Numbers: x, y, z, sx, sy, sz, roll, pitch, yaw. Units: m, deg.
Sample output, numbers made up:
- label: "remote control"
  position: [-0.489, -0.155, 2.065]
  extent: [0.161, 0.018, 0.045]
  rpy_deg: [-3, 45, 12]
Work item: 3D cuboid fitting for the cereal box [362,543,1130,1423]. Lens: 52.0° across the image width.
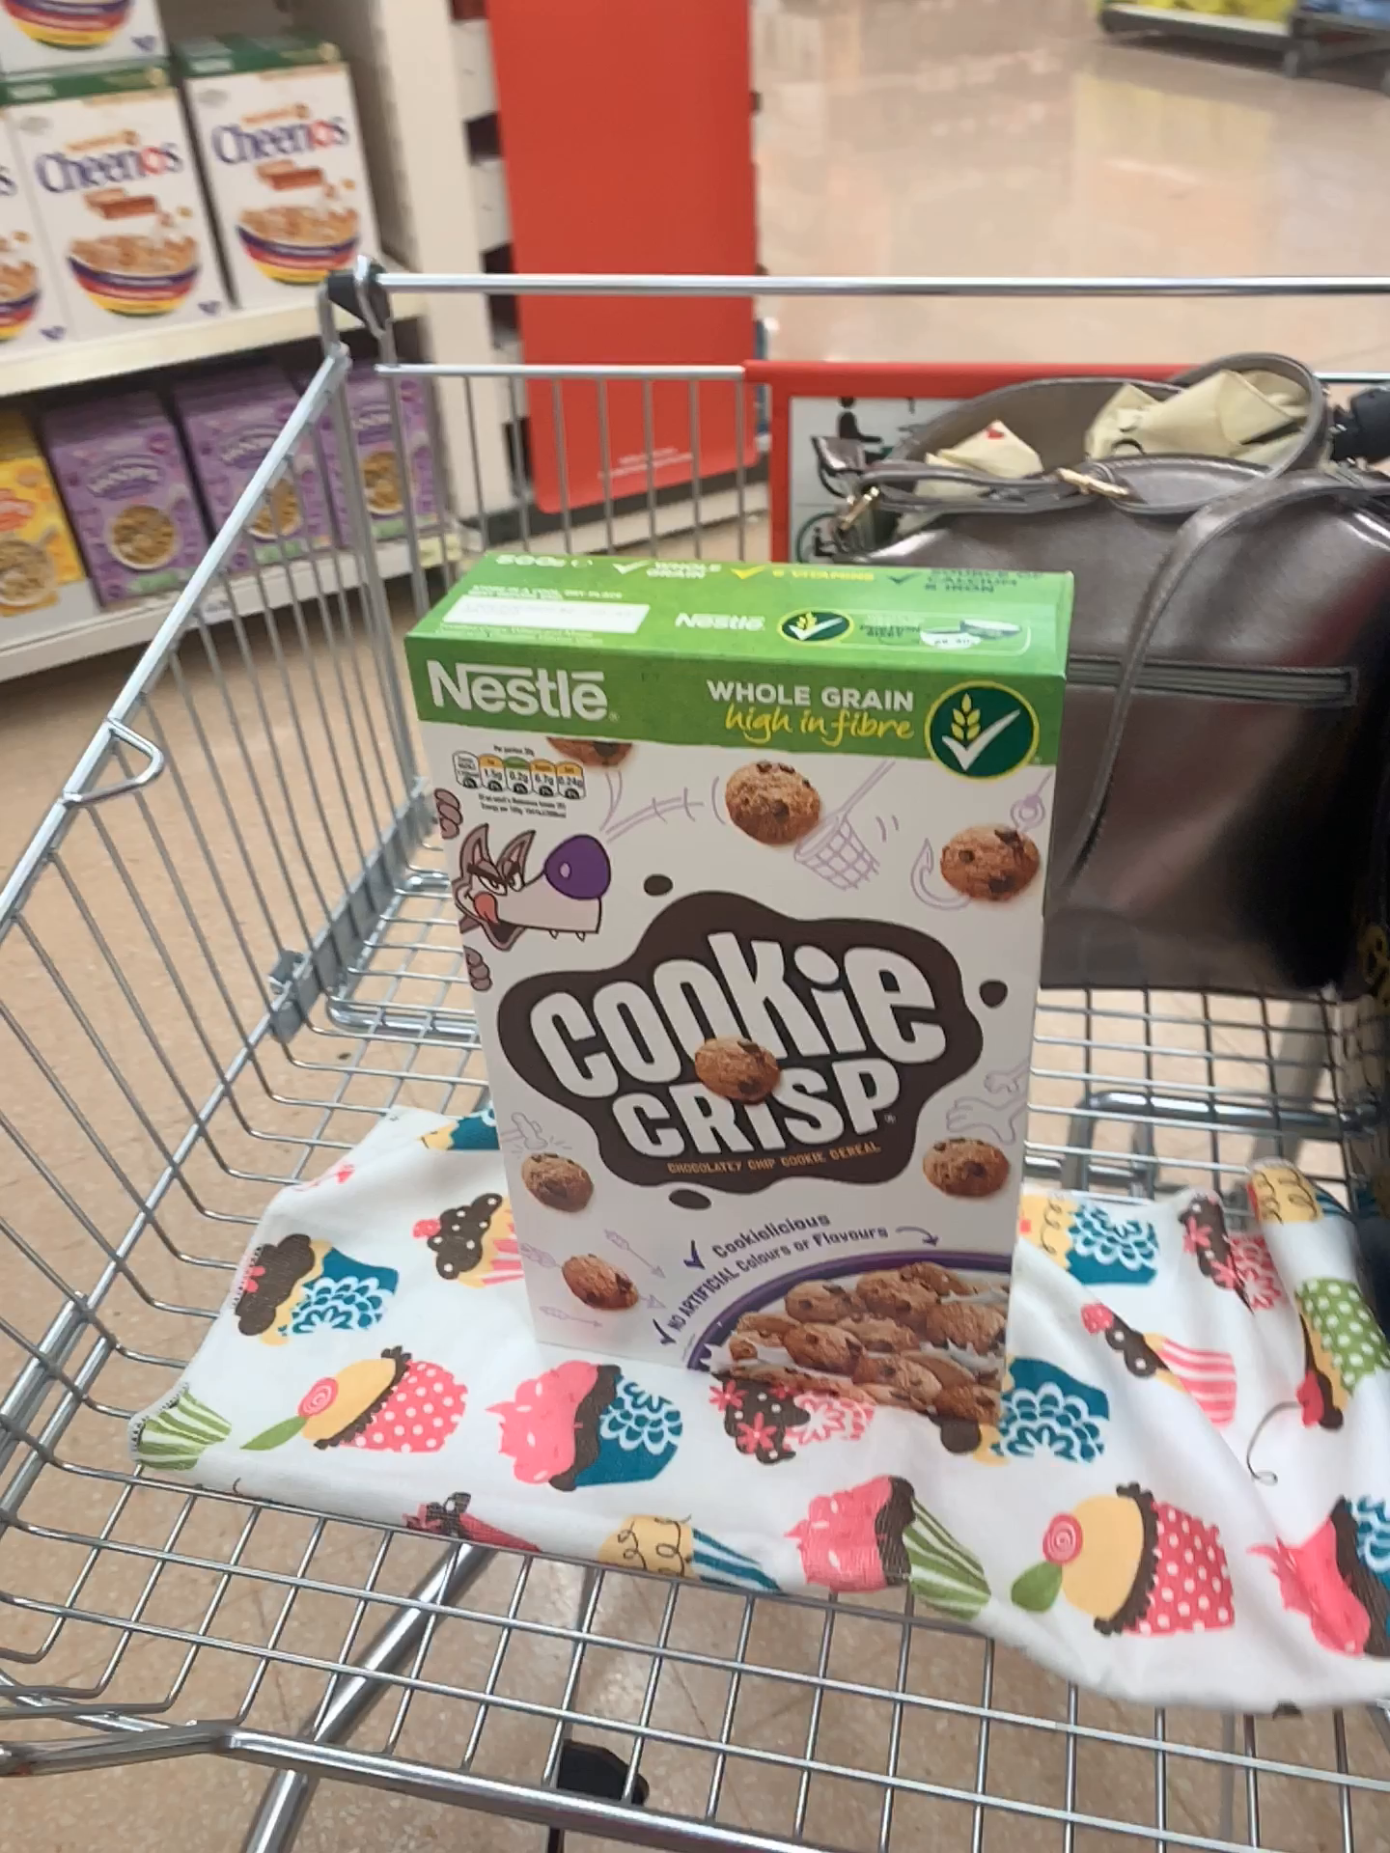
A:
- label: "cereal box"
  position: [0.020, 0.030, 0.512]
  extent: [0.220, 0.307, 0.071]
  rpy_deg: [6, 34, 12]
